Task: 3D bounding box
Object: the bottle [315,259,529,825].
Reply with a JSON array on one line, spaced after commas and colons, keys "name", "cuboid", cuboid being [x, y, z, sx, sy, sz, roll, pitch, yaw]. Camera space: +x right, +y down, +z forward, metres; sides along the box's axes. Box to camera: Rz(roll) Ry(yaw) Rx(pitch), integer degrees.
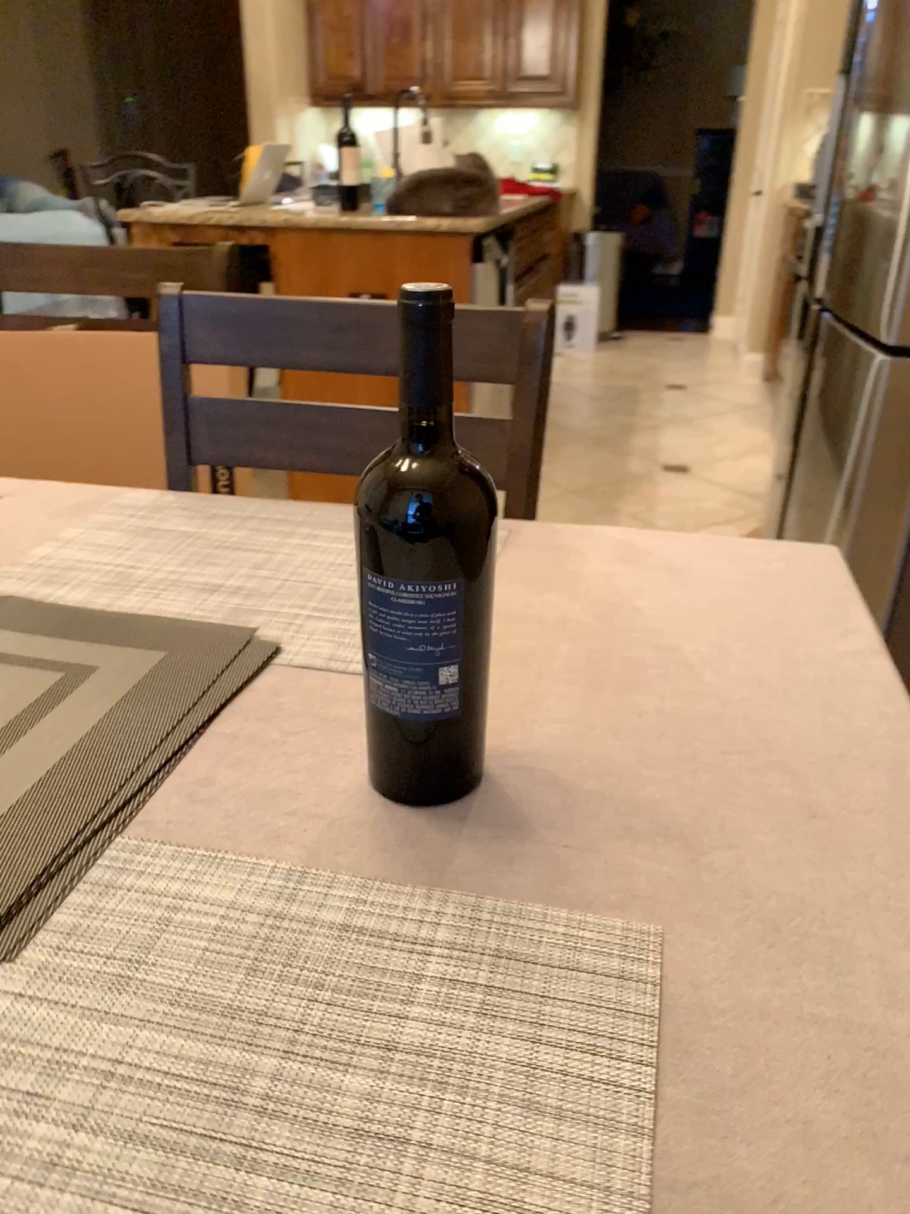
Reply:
[{"name": "bottle", "cuboid": [-0.014, -0.031, 0.527, 0.090, 0.298, 0.090, 1, 26, 0]}]
